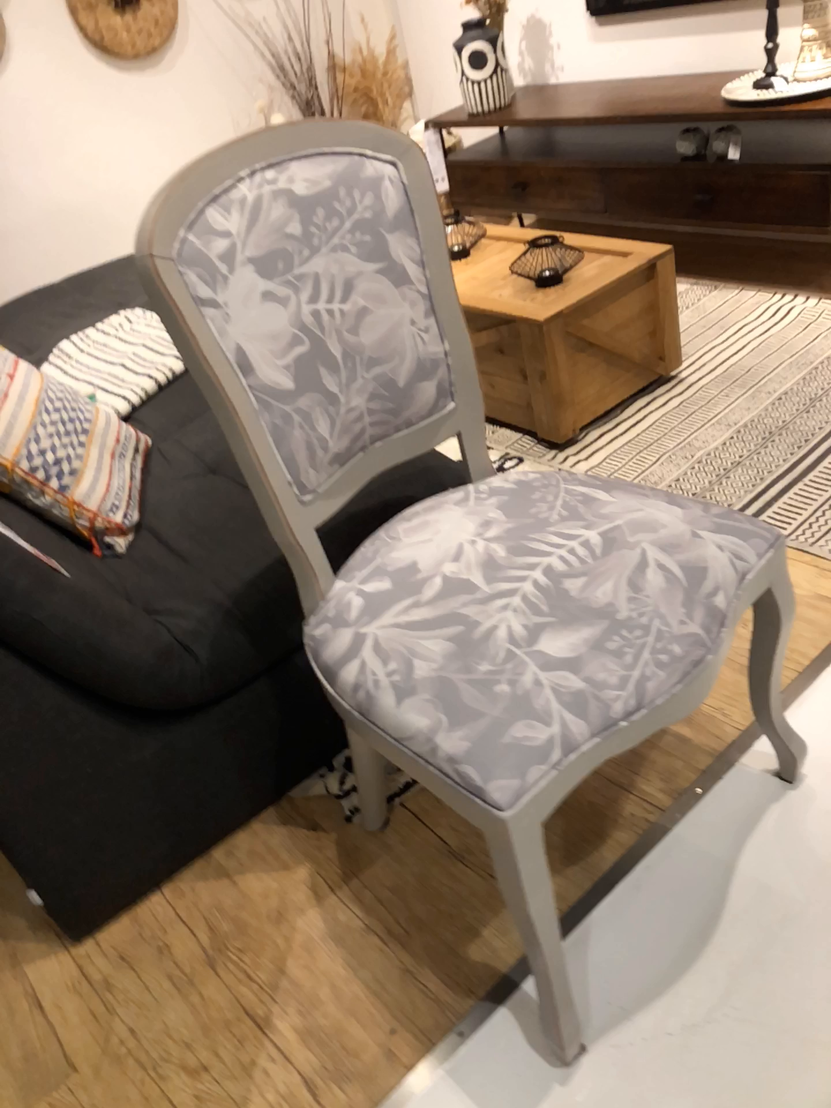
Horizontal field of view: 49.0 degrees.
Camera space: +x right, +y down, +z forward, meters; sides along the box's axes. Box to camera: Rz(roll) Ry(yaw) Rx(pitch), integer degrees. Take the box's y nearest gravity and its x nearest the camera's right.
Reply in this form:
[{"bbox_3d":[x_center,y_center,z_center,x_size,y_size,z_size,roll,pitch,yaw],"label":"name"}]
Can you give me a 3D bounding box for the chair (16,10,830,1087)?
[{"bbox_3d":[0.100,-0.011,1.080,0.572,0.942,0.533,-35,38,-27],"label":"chair"}]
